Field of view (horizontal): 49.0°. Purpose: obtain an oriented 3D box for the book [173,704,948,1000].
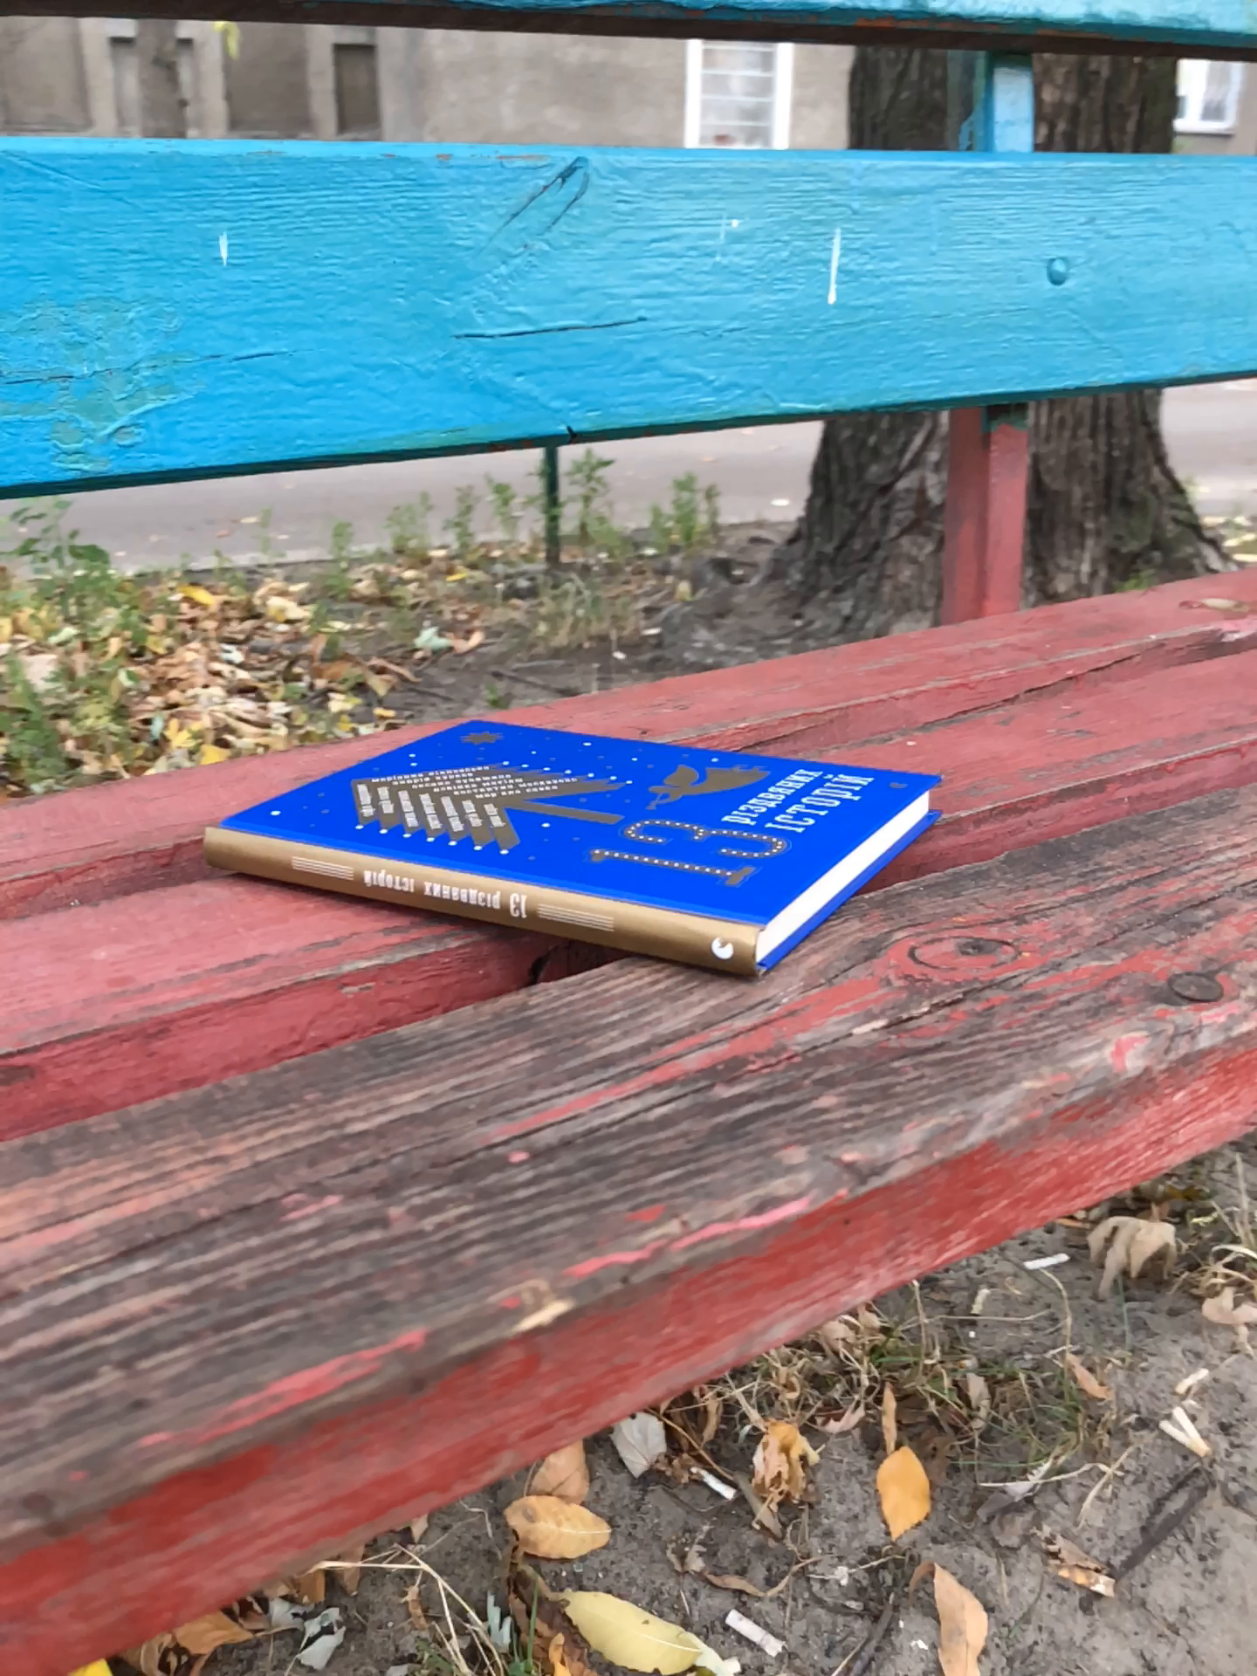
[{"bbox_3d":[-0.019,-0.007,0.469,0.212,0.020,0.156,9,23,29],"label":"book"}]
